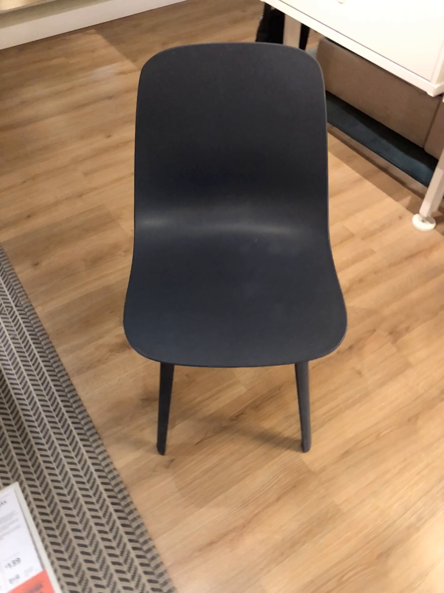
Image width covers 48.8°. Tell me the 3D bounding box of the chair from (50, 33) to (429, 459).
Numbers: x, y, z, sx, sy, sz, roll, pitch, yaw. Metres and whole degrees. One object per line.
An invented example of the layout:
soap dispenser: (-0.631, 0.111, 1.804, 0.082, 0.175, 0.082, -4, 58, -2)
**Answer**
chair: (0.022, -0.067, 1.067, 0.470, 0.727, 0.562, -1, 50, 0)
